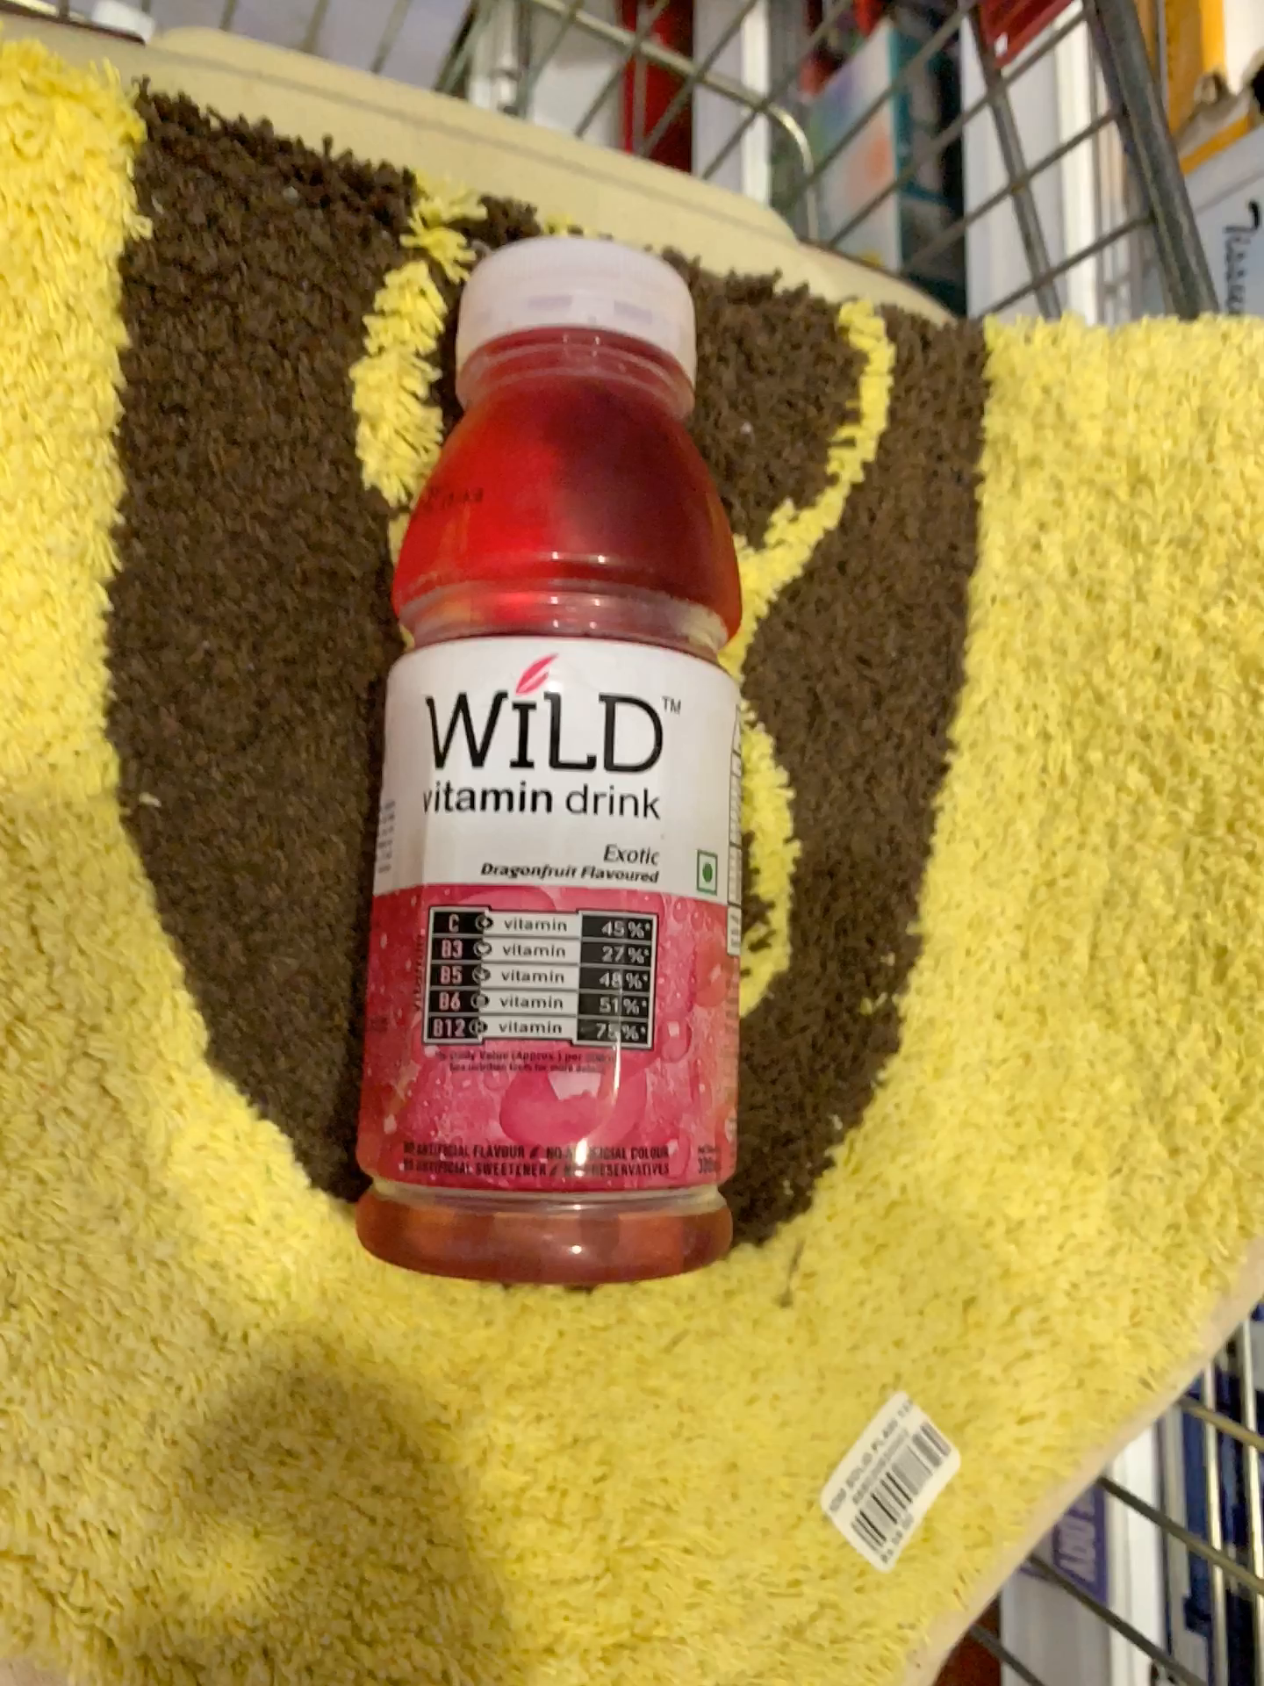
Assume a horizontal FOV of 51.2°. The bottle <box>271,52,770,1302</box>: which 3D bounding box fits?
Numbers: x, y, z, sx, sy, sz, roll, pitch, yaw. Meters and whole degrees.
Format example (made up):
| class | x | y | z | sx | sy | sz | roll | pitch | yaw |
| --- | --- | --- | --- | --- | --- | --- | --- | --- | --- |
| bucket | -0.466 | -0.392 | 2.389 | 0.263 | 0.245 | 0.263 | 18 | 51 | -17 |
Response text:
| class | x | y | z | sx | sy | sz | roll | pitch | yaw |
| --- | --- | --- | --- | --- | --- | --- | --- | --- | --- |
| bottle | -0.013 | -0.024 | 0.199 | 0.060 | 0.050 | 0.170 | 1 | 80 | -3 |
